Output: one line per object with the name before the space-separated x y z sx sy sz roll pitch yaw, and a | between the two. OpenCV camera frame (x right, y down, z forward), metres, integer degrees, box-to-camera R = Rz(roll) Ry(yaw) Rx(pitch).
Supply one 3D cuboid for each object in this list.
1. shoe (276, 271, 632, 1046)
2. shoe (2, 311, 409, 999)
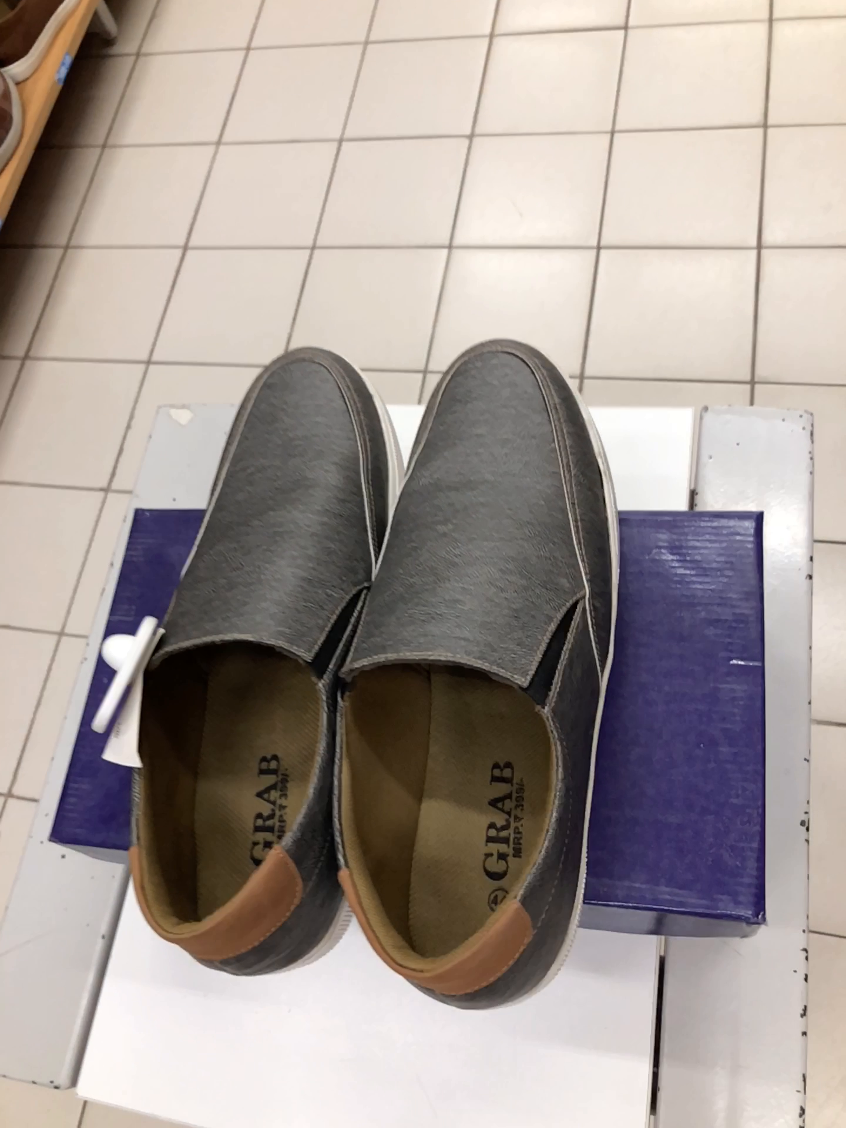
shoe | 0.032 0.034 0.429 0.100 0.120 0.311 3 68 15
shoe | -0.077 0.036 0.411 0.100 0.100 0.271 -2 67 14
